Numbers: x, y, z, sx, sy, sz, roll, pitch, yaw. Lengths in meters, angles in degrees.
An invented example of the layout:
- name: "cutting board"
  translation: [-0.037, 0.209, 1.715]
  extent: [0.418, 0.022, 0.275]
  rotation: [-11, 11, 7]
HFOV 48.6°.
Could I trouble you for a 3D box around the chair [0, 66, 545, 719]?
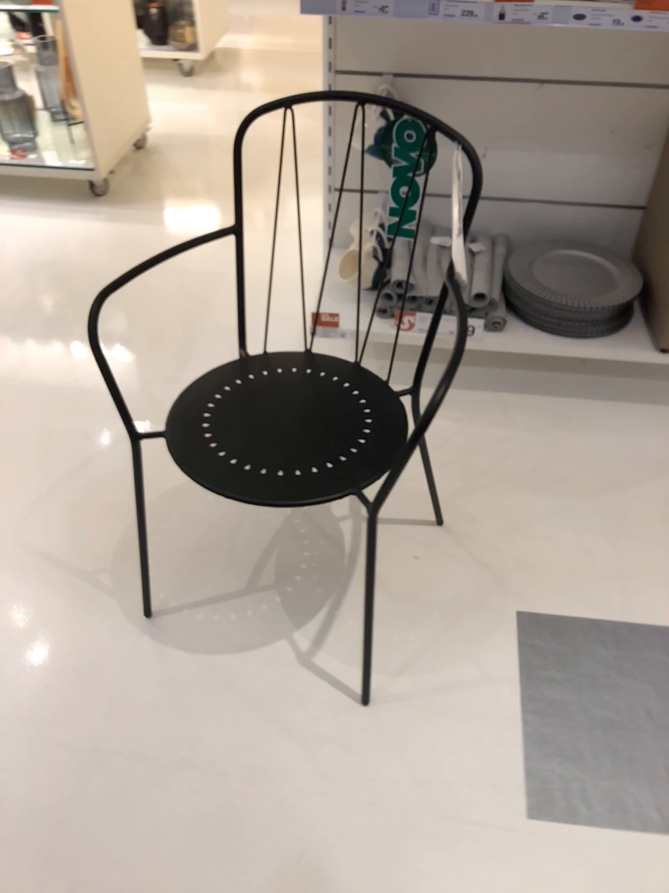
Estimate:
- name: "chair"
  translation: [-0.041, -0.086, 1.237]
  extent: [0.510, 0.814, 0.564]
  rotation: [17, 45, 17]
